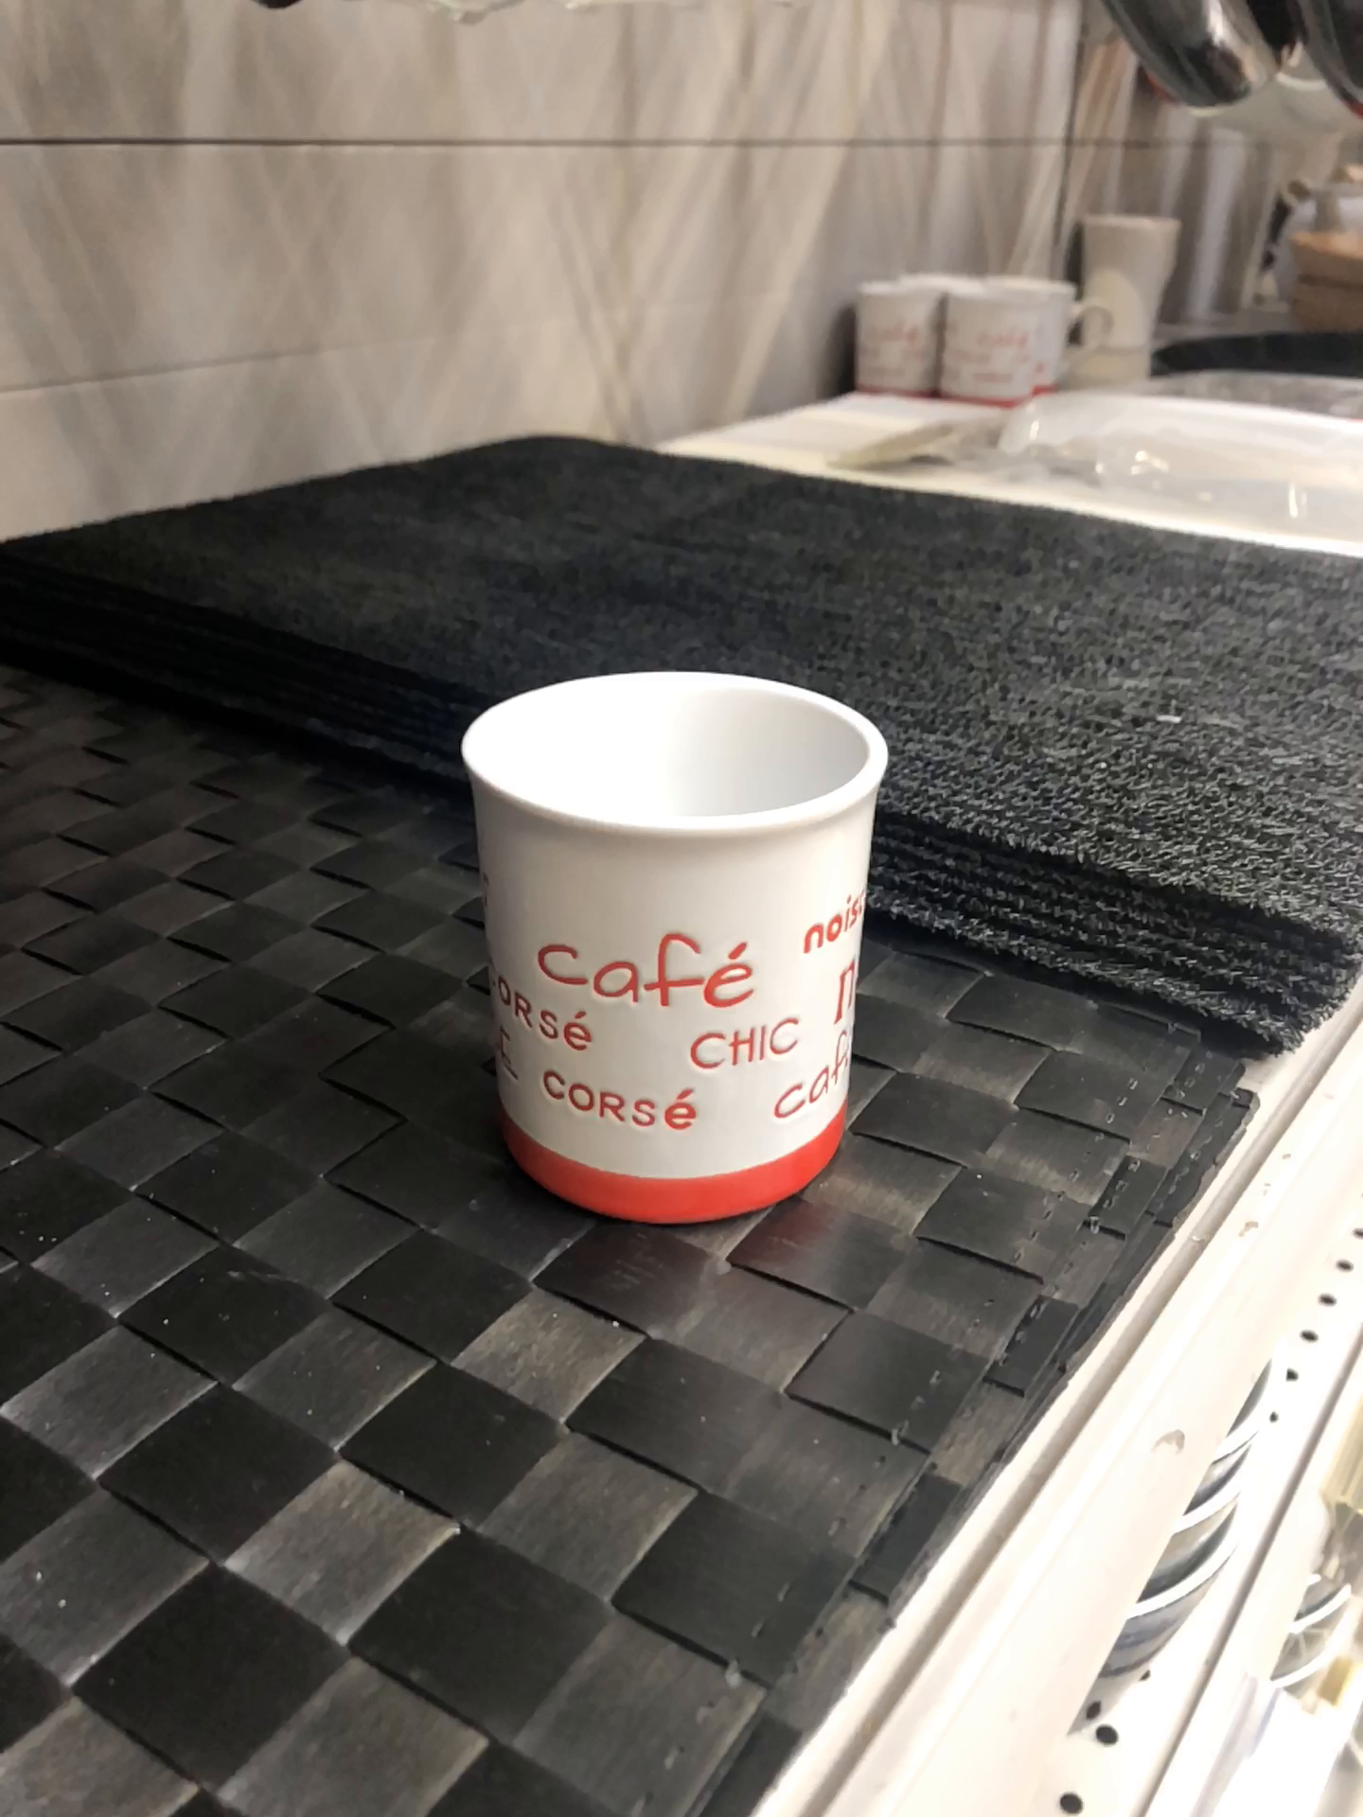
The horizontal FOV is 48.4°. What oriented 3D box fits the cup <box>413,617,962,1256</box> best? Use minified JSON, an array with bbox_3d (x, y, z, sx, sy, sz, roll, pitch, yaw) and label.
[{"bbox_3d":[-0.006,-0.003,0.256,0.067,0.064,0.097,-5,28,-12],"label":"cup"}]
